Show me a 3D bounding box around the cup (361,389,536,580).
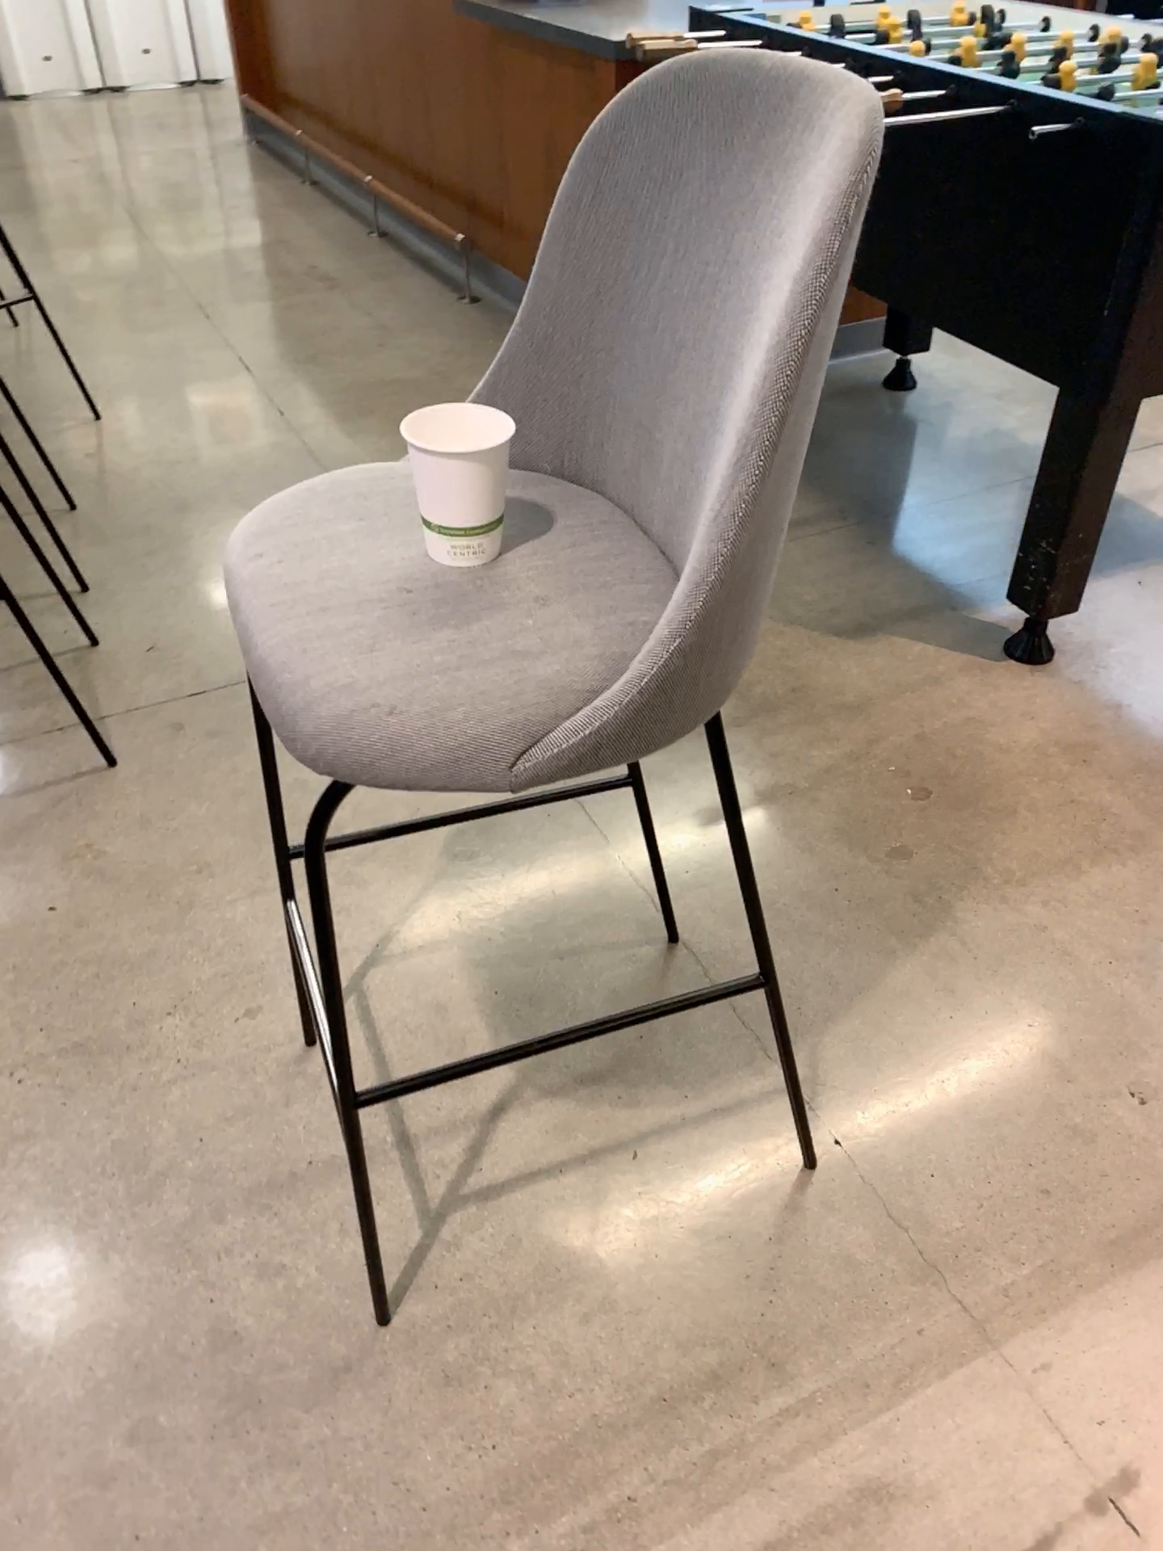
[{"bbox_3d":[-0.100,-0.226,0.915,0.090,0.099,0.090,0,38,0],"label":"cup"}]
